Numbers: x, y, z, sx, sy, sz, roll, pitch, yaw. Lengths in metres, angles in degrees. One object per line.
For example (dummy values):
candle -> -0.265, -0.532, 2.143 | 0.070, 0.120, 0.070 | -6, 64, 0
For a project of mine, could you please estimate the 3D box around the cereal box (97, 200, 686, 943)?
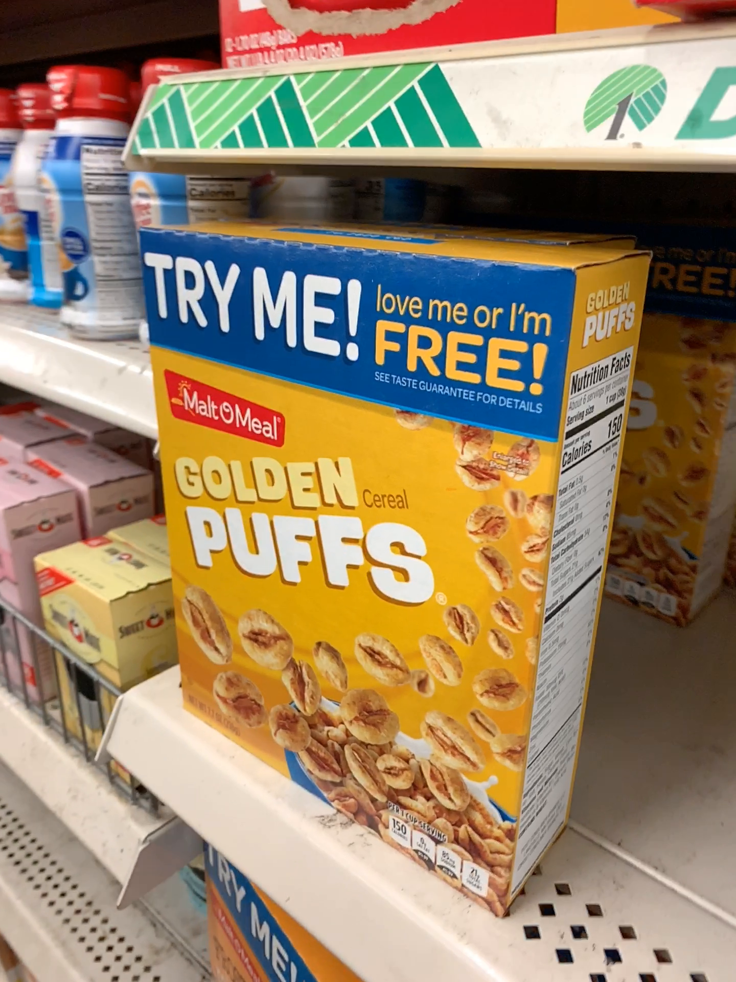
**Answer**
cereal box -> -0.007, 0.013, 0.285 | 0.190, 0.219, 0.060 | 18, 28, 36
